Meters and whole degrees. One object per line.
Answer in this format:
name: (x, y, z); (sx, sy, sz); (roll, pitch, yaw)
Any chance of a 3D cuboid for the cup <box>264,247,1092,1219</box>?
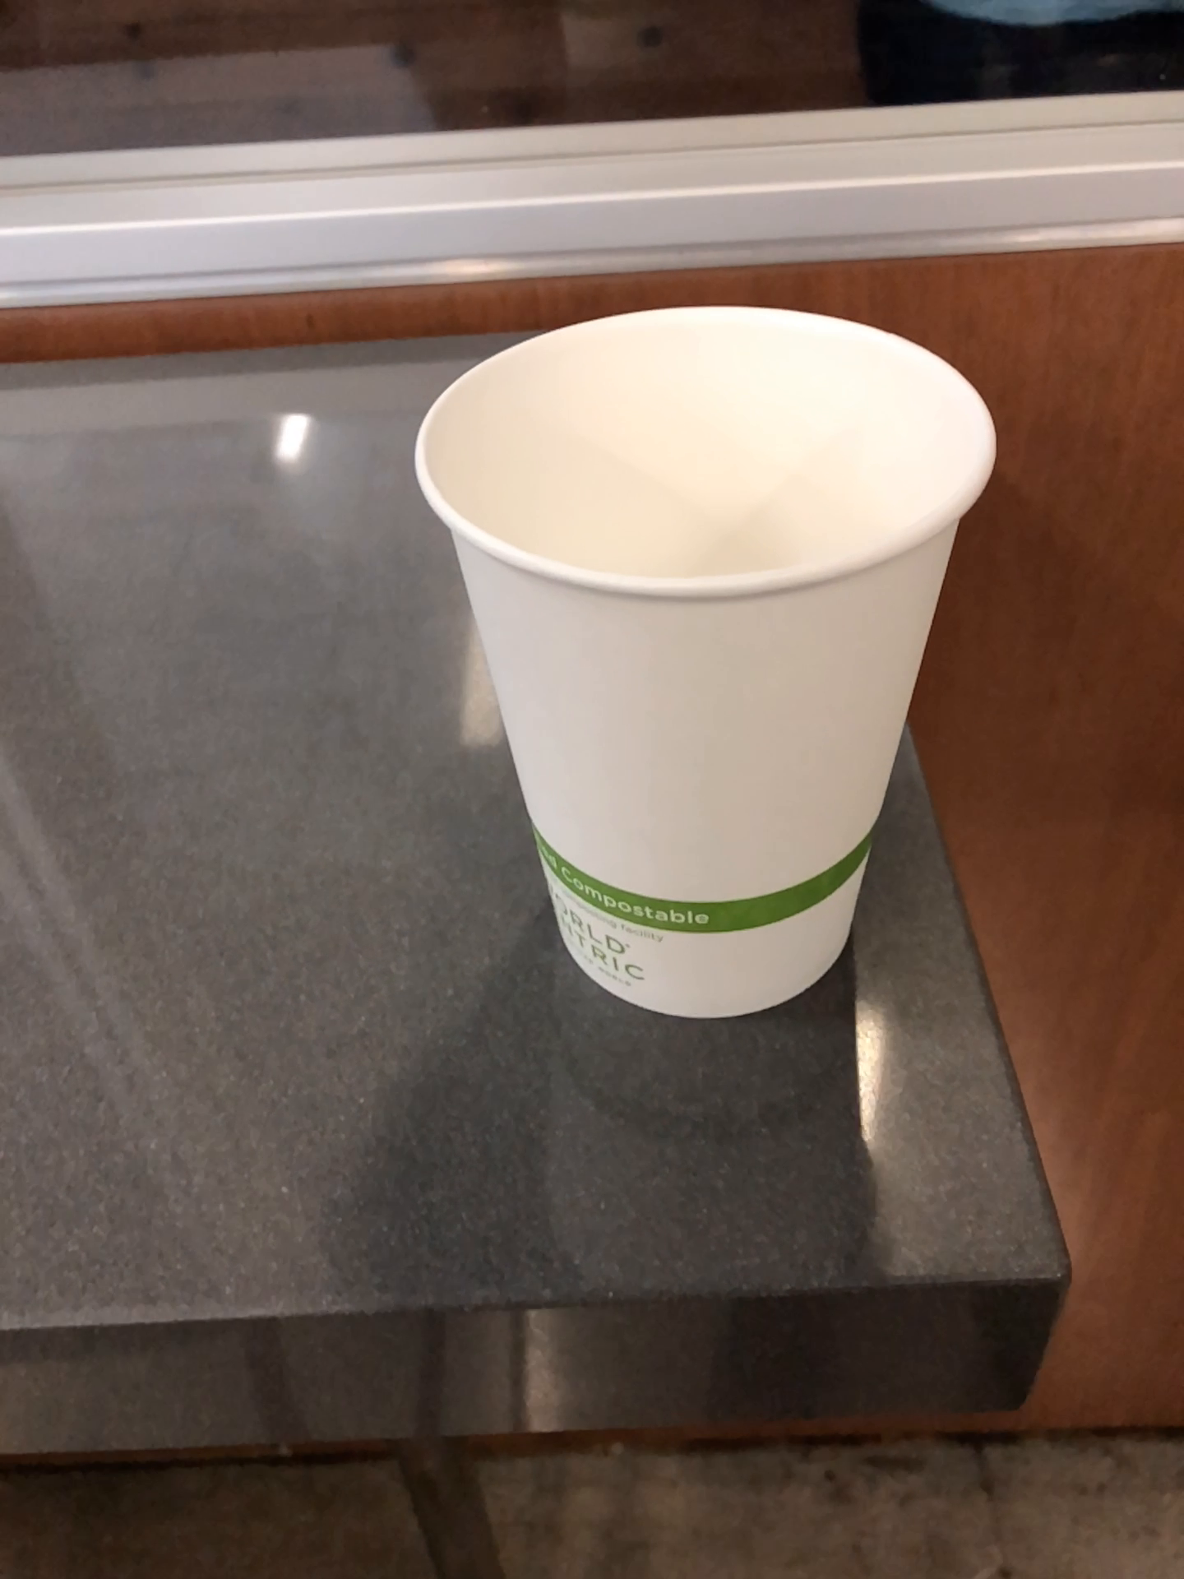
cup: (0.016, -0.012, 0.231); (0.080, 0.119, 0.090); (30, 51, 33)
